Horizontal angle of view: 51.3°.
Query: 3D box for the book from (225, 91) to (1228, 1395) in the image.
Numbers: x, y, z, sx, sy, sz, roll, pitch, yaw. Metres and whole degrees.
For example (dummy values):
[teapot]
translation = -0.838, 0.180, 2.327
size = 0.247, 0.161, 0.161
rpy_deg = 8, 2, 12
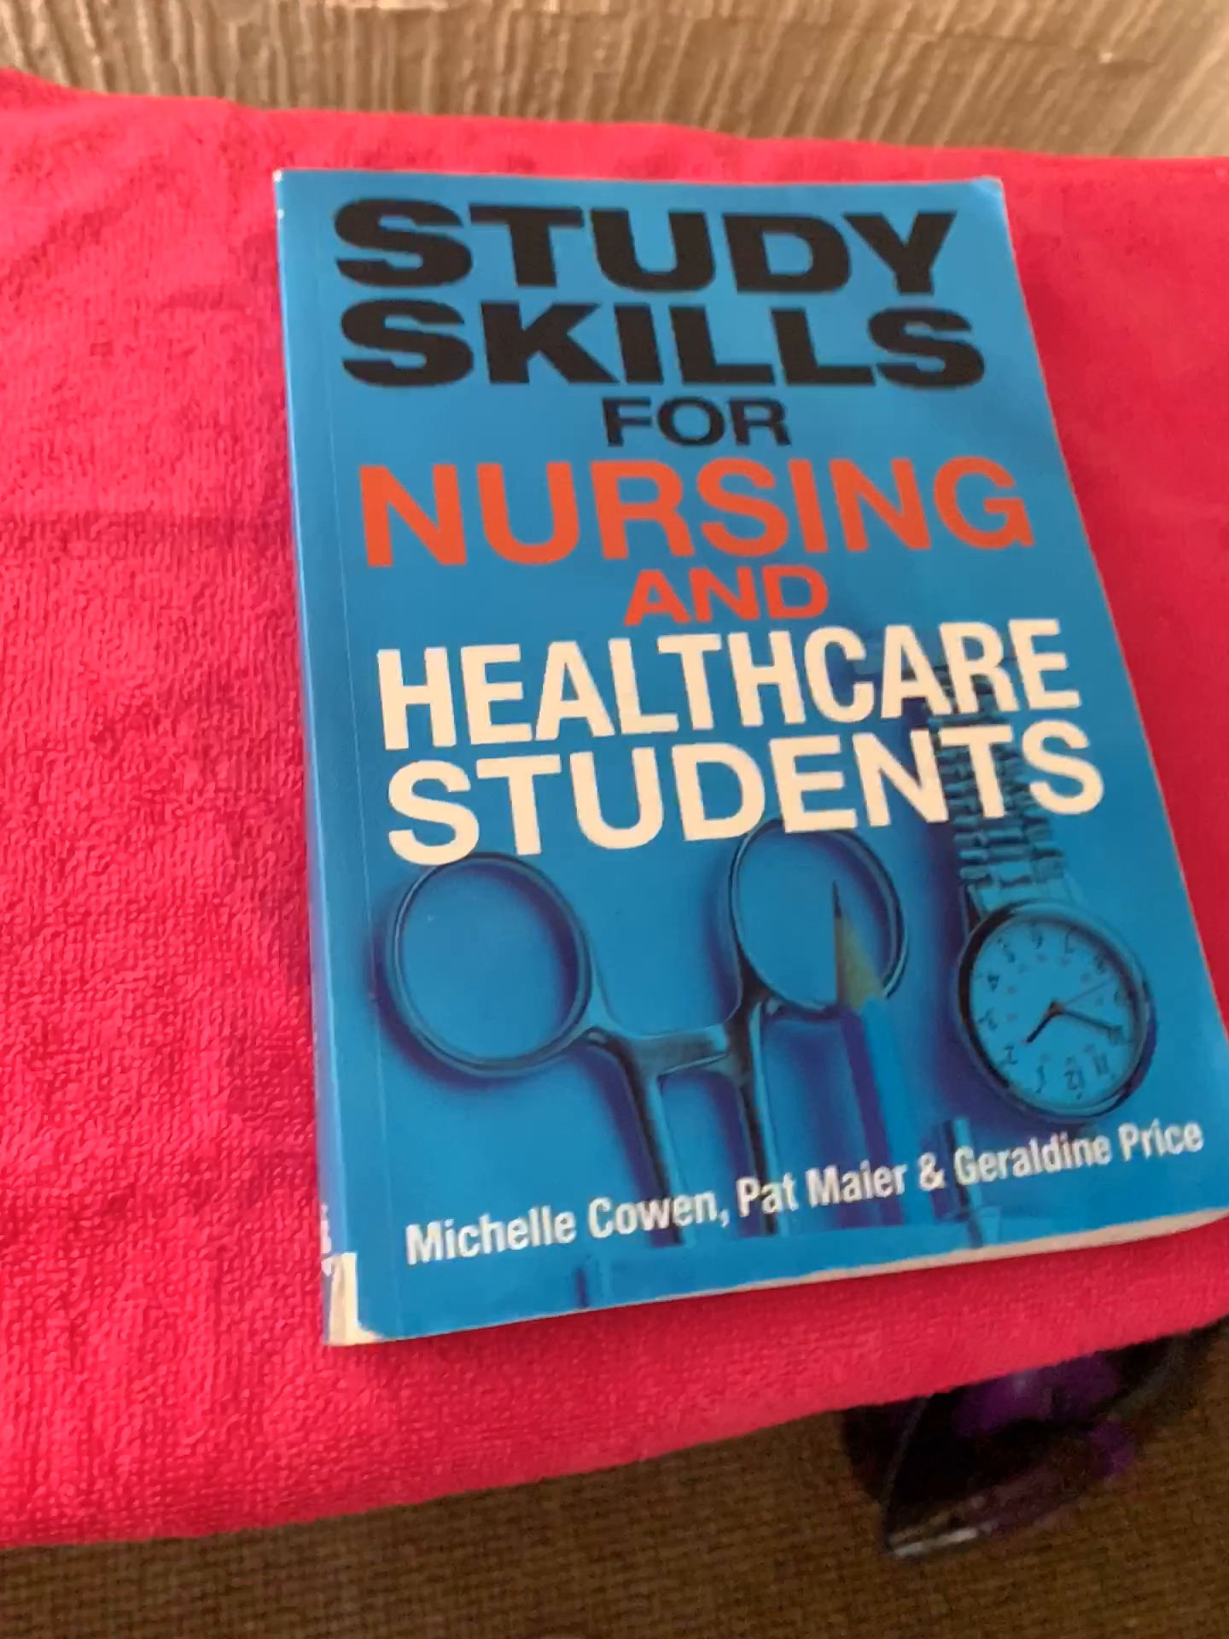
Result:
[book]
translation = 0.025, -0.038, 0.281
size = 0.200, 0.040, 0.271
rpy_deg = -4, 69, -13
